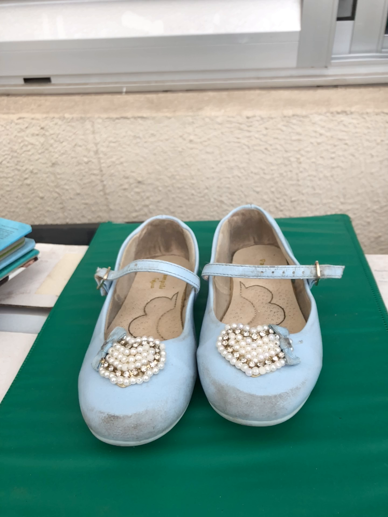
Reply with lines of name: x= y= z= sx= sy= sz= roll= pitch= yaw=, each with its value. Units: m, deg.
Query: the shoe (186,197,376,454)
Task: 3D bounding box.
shoe: x=0.044 y=0.024 z=0.268 sx=0.080 sy=0.050 sz=0.171 roll=1 pitch=36 yaw=5

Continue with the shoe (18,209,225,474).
shoe: x=-0.026 y=0.033 z=0.267 sx=0.086 sy=0.050 sz=0.171 roll=1 pitch=36 yaw=5
